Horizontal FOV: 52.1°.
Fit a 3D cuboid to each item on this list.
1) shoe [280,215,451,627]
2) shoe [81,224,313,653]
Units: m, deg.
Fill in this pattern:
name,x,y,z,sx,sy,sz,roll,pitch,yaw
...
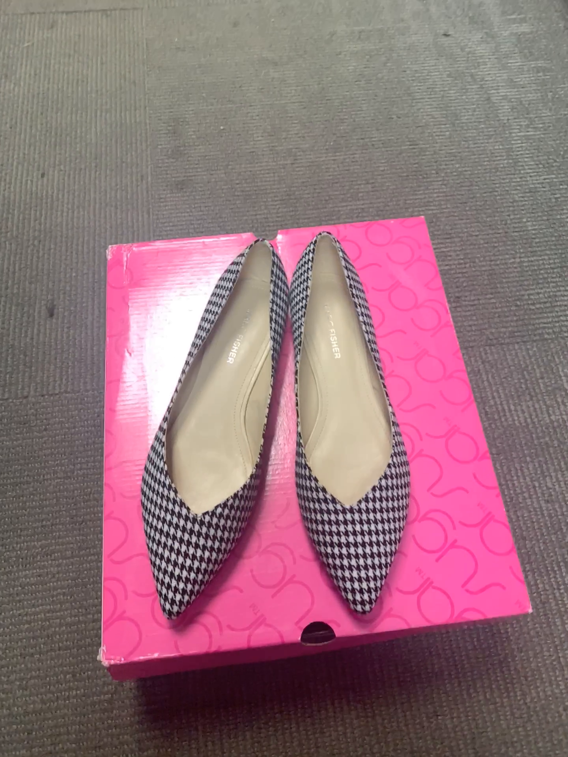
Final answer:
name,x,y,z,sx,sy,sz,roll,pitch,yaw
shoe,0.045,0.019,0.408,0.080,0.060,0.280,-3,66,-1
shoe,-0.044,0.028,0.390,0.080,0.060,0.270,10,66,4
